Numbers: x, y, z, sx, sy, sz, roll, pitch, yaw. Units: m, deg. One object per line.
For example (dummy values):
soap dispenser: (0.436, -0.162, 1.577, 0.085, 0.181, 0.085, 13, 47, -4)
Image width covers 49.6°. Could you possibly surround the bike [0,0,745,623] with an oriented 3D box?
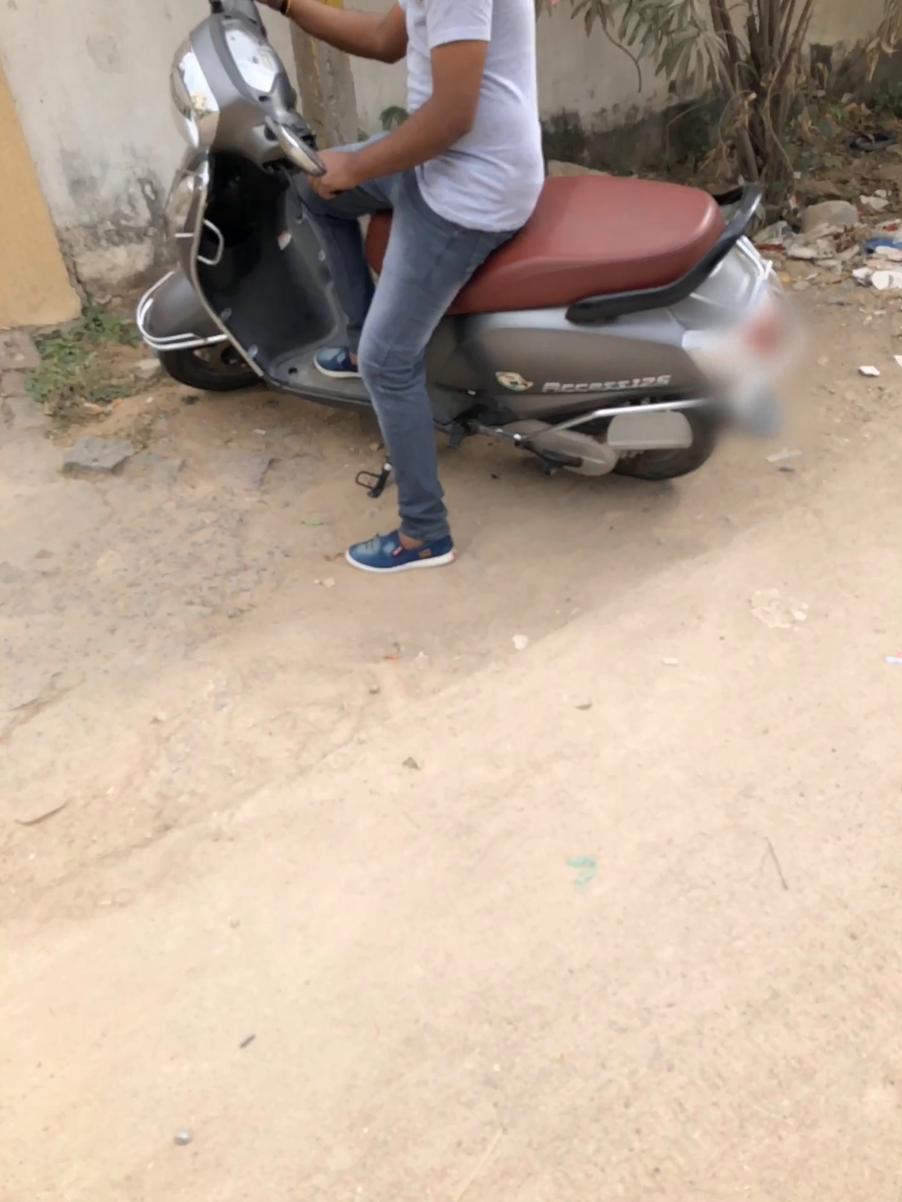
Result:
bike: (-0.209, -0.757, 2.167, 1.496, 1.195, 0.614, 10, 39, 15)
